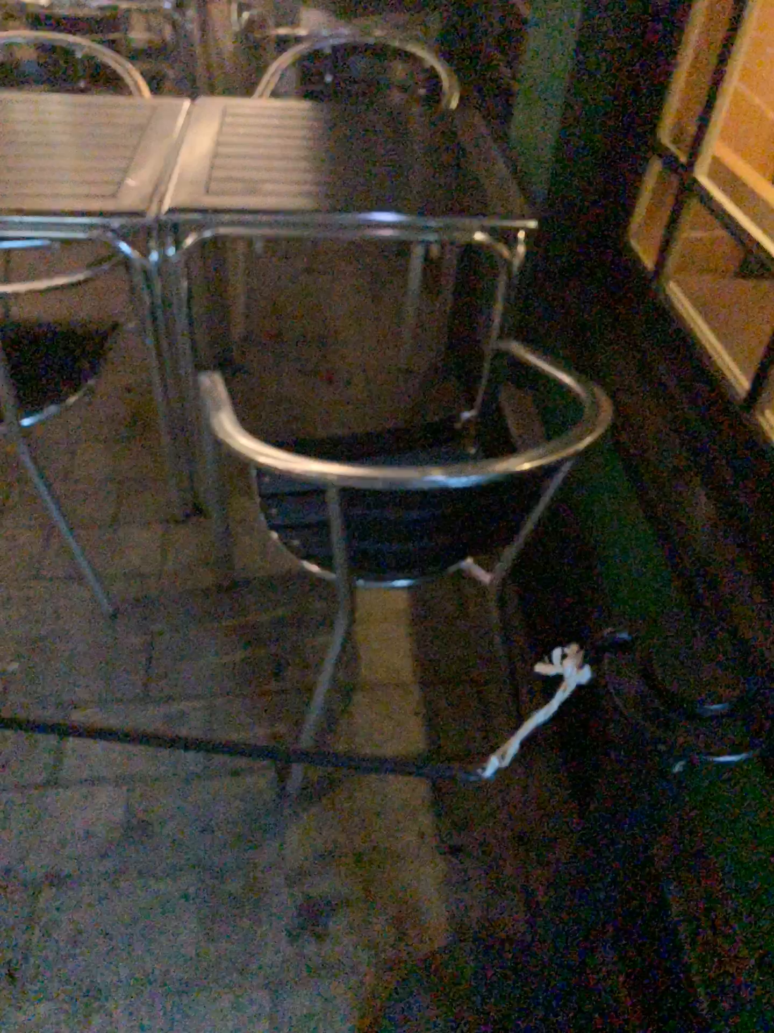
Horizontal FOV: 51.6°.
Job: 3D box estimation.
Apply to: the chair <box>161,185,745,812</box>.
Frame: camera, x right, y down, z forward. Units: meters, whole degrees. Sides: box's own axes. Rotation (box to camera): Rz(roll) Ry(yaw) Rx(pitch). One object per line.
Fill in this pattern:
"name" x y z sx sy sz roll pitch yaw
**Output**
"chair" 0.017 -0.053 1.417 0.661 0.782 0.656 -9 44 -15
